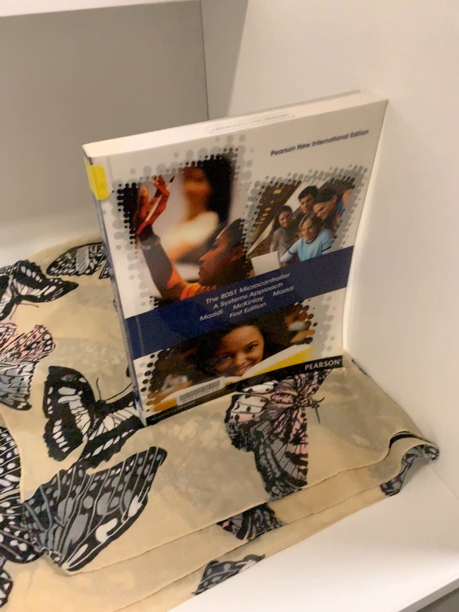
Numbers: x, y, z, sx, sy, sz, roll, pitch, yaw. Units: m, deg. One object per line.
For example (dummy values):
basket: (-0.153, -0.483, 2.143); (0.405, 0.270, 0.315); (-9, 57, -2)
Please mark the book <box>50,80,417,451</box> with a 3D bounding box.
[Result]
book: (0.010, -0.019, 0.366); (0.220, 0.248, 0.053); (-19, 46, -19)
